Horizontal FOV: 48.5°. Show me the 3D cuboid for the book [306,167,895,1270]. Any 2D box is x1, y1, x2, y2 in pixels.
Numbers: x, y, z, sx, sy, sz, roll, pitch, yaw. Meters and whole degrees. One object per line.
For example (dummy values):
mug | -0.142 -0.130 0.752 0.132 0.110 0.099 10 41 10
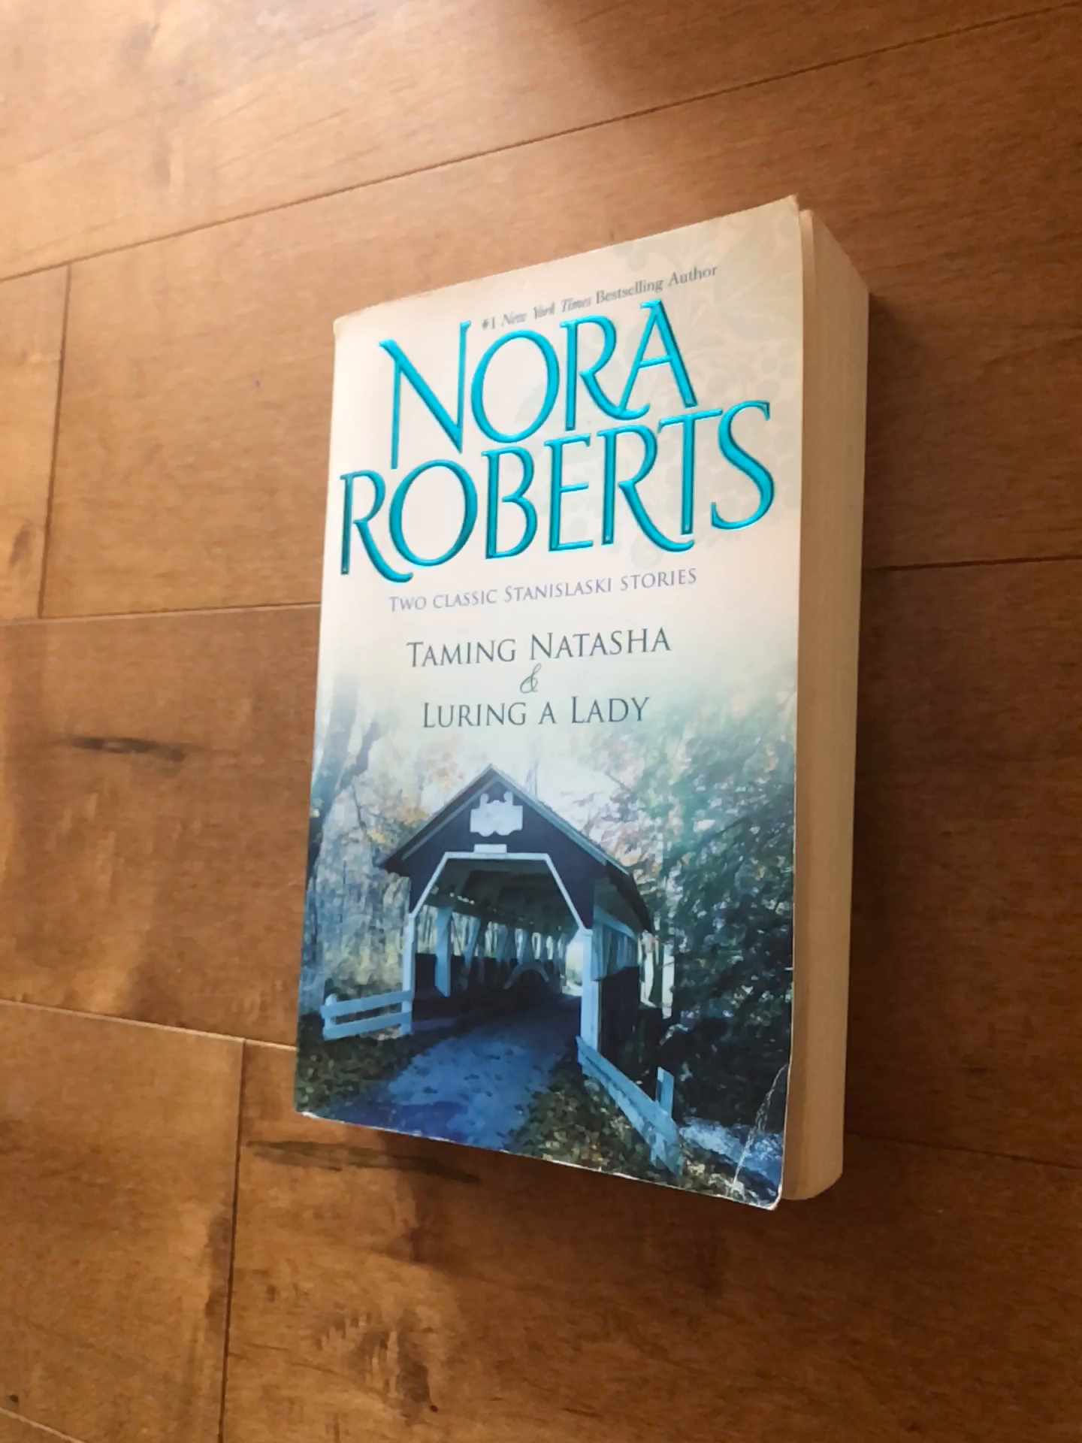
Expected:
book | 0.014 -0.002 0.287 0.130 0.040 0.220 -1 83 29
